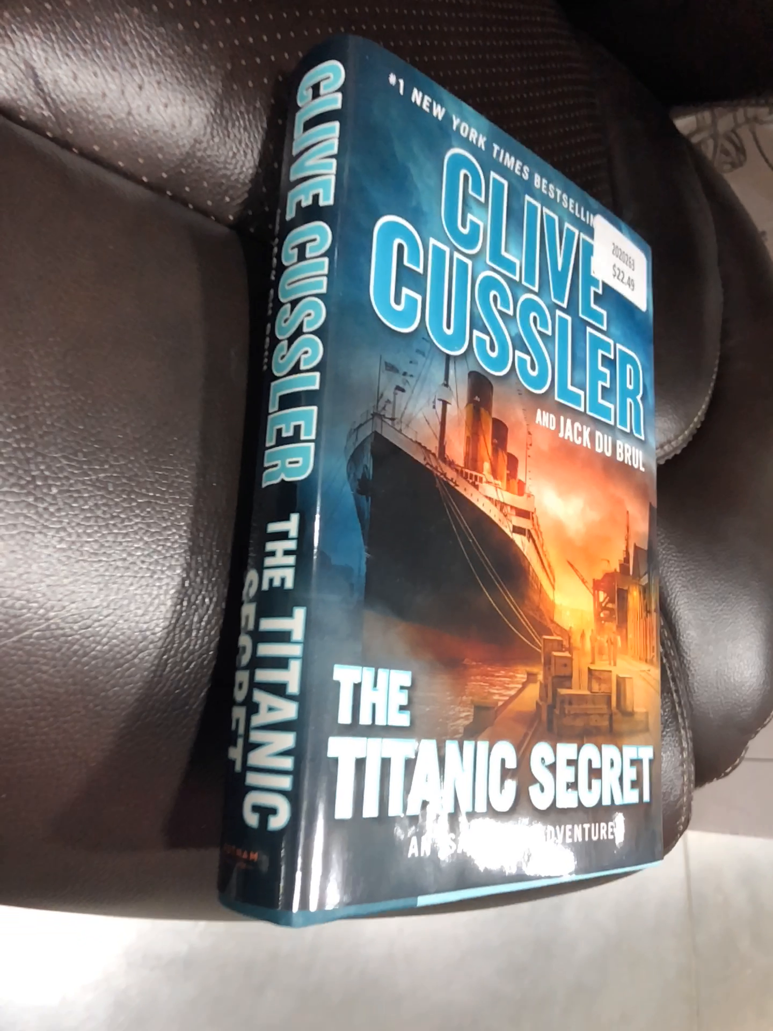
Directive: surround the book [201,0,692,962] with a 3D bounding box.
[{"bbox_3d":[0.037,-0.008,0.278,0.166,0.040,0.249,14,74,-41],"label":"book"}]
